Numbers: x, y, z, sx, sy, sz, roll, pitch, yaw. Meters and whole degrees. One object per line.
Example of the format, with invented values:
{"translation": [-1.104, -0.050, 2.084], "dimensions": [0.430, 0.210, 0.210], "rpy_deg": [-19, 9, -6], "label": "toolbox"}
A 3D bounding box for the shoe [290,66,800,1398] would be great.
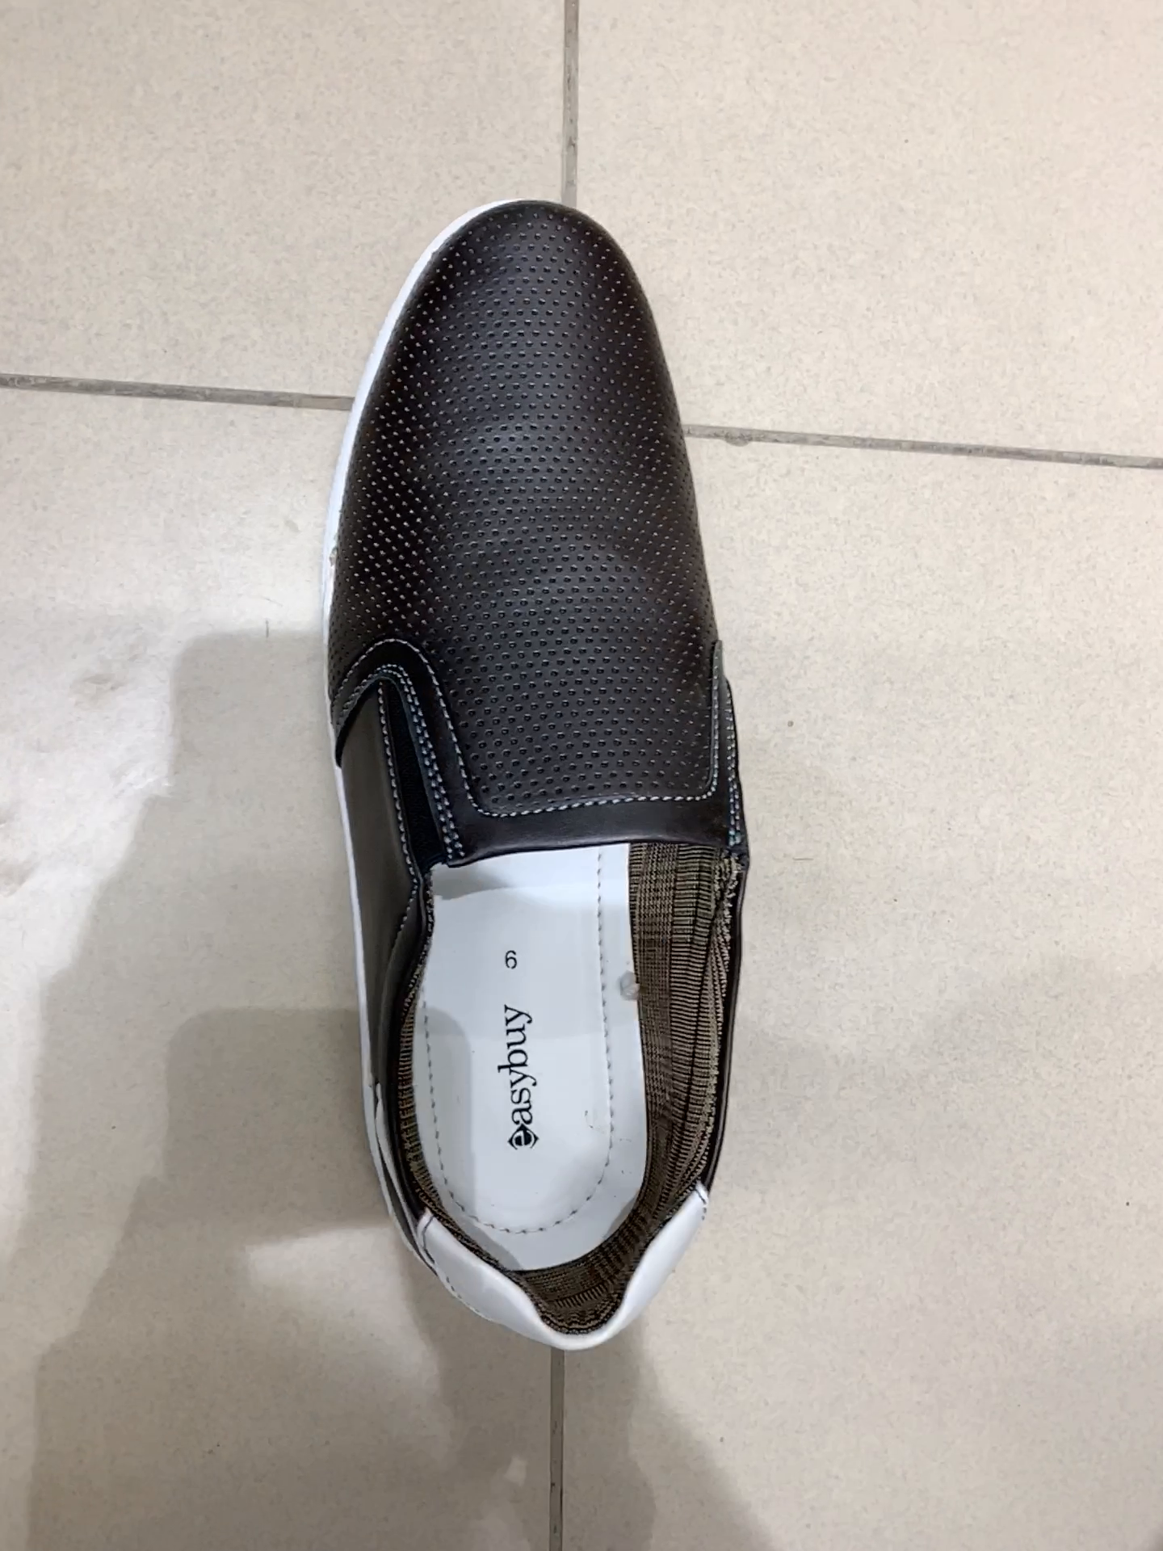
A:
{"translation": [-0.014, -0.011, 0.324], "dimensions": [0.110, 0.090, 0.300], "rpy_deg": [-2, 90, -10], "label": "shoe"}
